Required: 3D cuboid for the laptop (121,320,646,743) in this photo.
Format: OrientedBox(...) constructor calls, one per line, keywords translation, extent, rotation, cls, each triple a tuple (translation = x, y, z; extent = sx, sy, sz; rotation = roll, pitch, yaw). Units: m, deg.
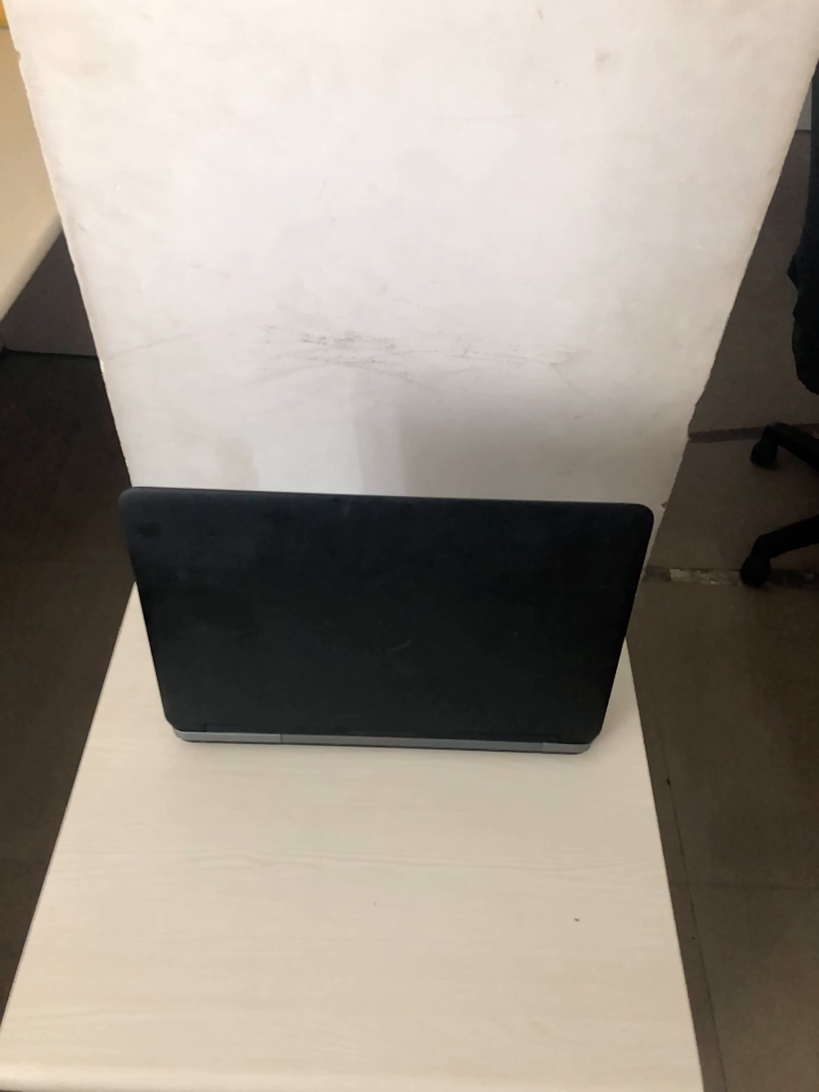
OrientedBox(translation=(-0.014, -0.007, 0.689), extent=(0.317, 0.226, 0.205), rotation=(2, 49, 0), cls="laptop")
